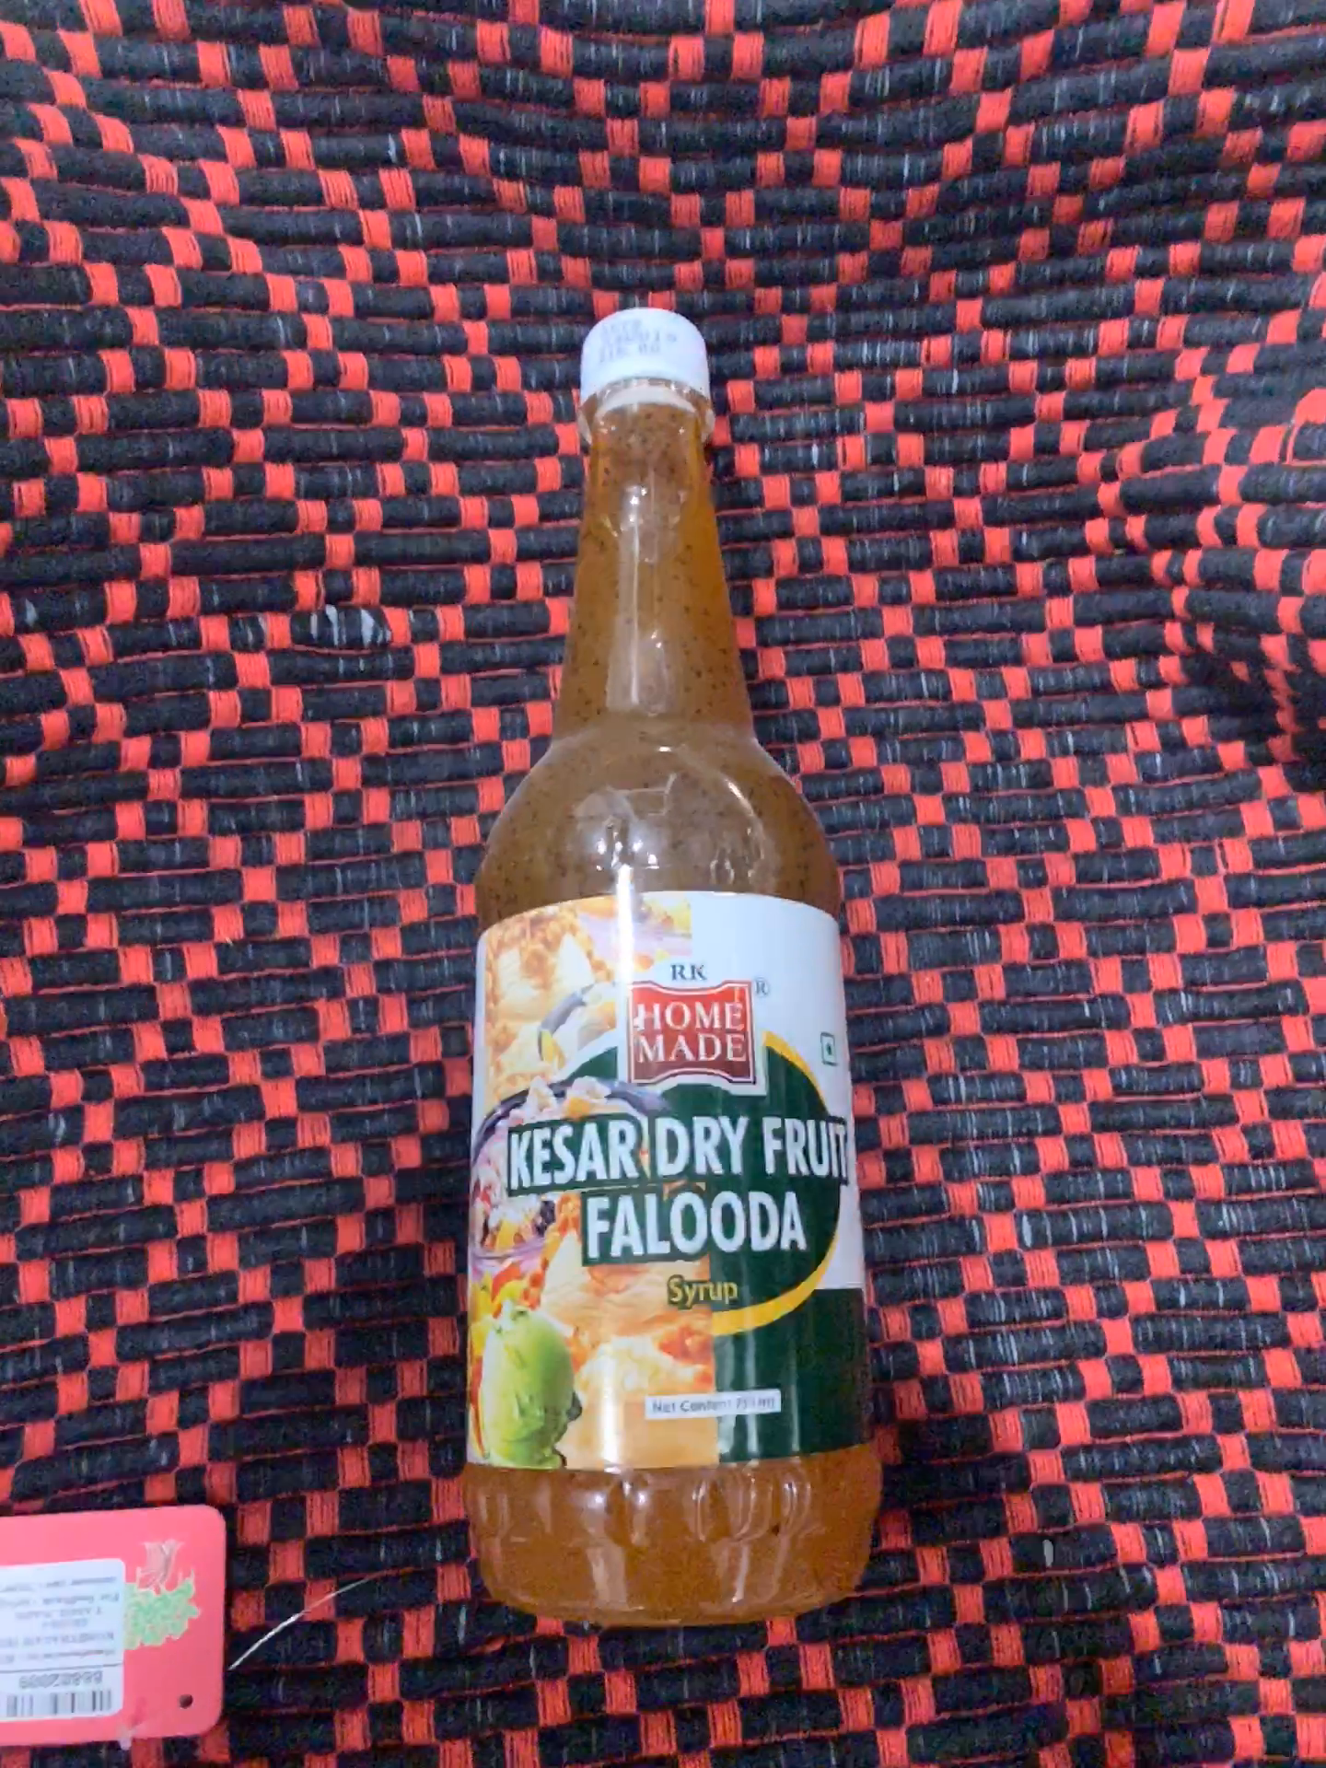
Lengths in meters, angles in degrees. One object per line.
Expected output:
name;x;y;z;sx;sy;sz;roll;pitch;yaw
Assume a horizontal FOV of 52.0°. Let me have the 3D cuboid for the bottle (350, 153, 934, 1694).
bottle;-0.008;-0.005;0.257;0.080;0.070;0.260;-2;73;-2
